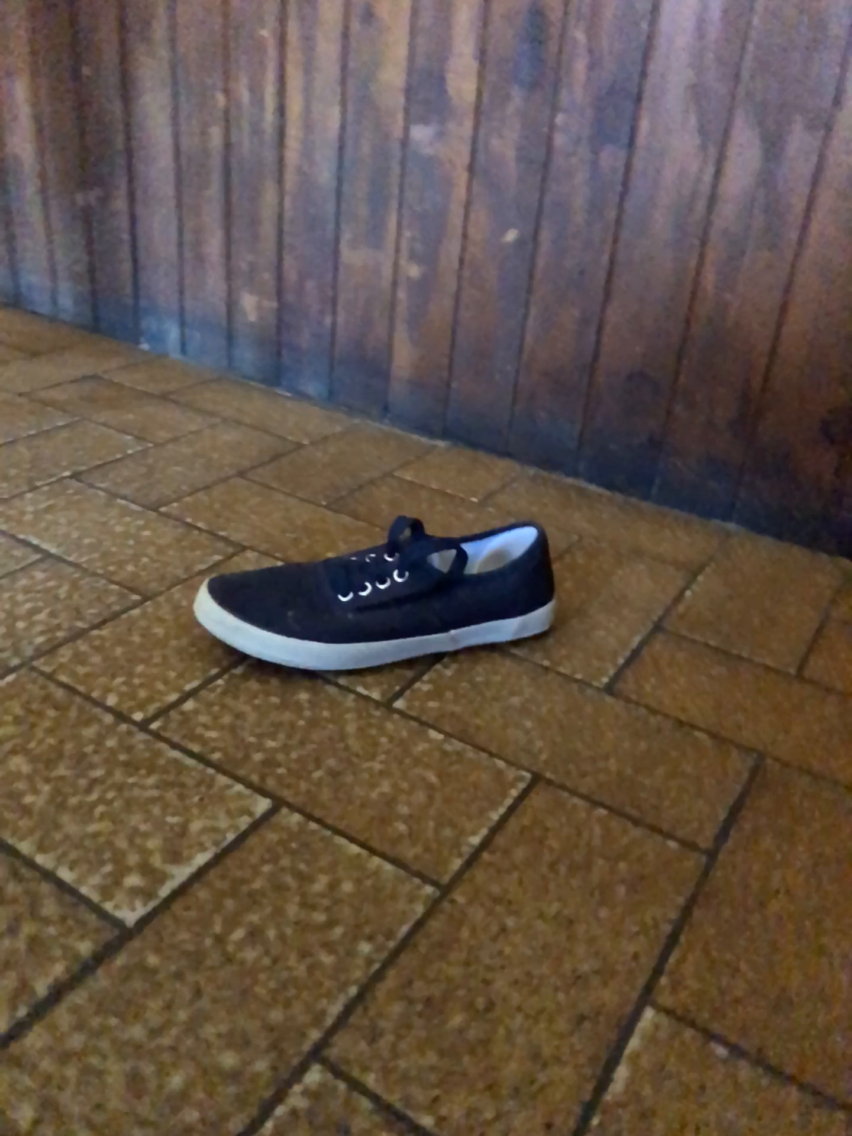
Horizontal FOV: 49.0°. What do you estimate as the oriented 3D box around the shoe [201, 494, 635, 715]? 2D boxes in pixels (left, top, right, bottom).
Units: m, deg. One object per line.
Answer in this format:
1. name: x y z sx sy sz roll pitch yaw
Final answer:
1. shoe: -0.008 0.015 0.574 0.241 0.070 0.100 -6 30 -19
